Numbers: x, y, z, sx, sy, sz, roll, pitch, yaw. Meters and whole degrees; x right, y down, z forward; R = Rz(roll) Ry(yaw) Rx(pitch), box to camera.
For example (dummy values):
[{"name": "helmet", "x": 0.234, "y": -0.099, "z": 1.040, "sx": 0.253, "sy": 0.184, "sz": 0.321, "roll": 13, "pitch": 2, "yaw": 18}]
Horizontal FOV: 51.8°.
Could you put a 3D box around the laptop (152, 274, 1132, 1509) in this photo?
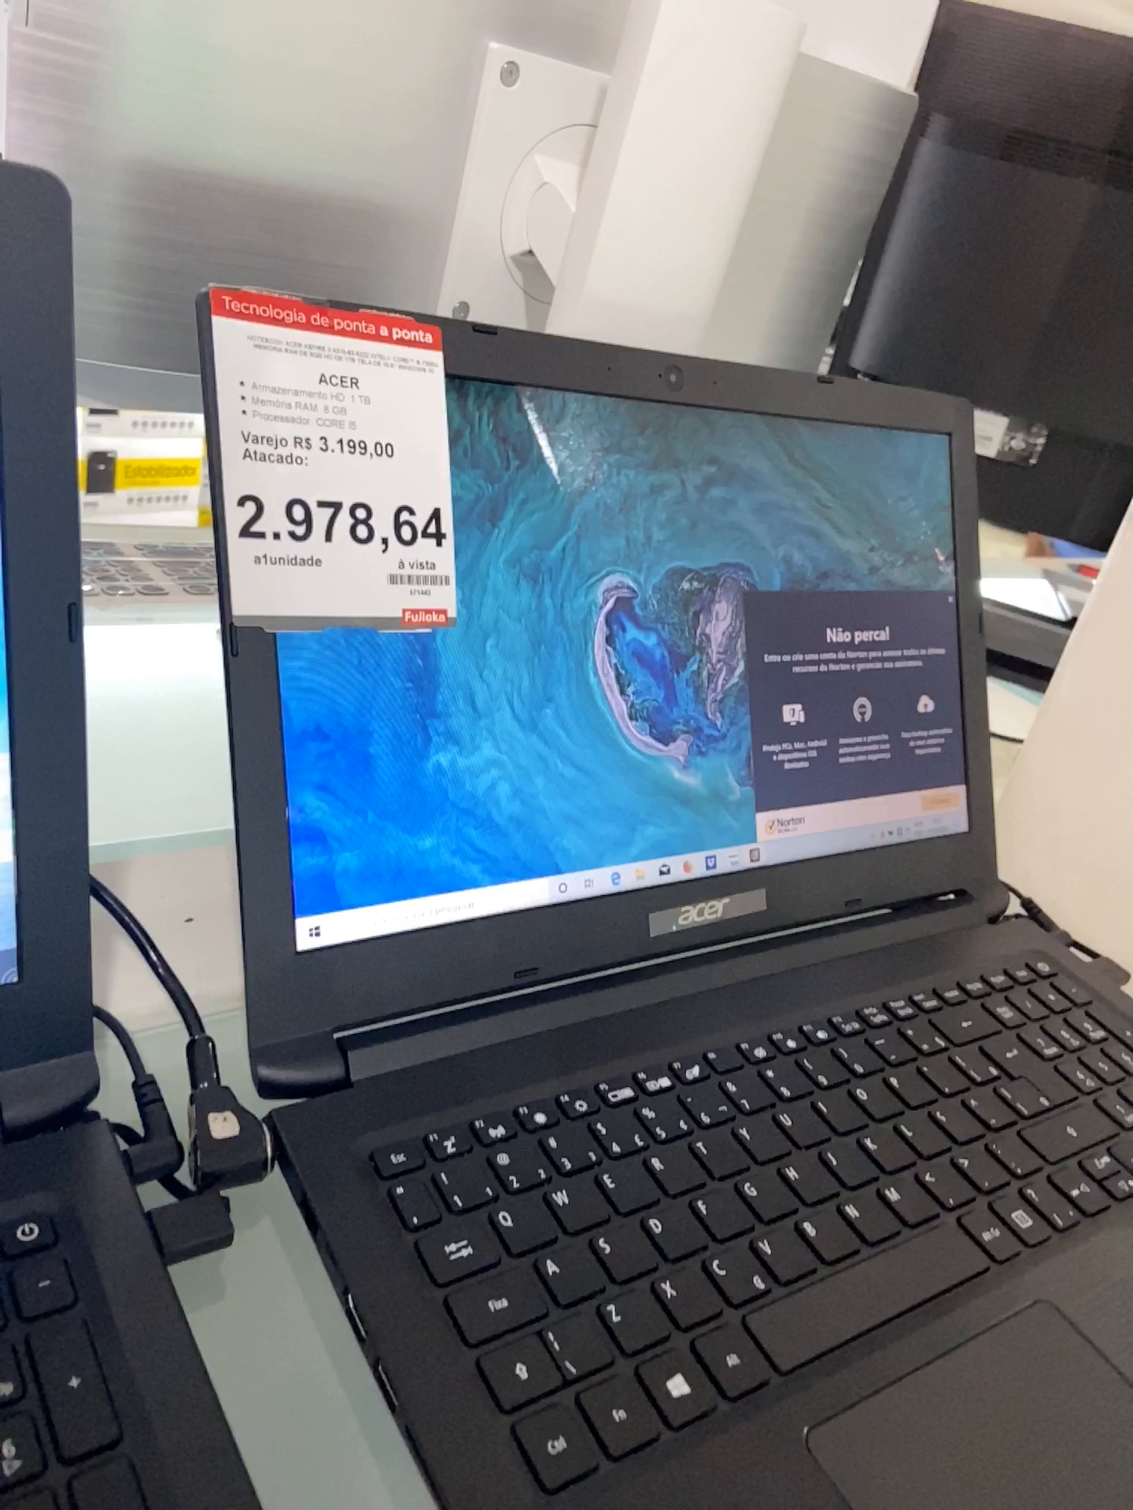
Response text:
[{"name": "laptop", "x": 0.113, "y": 0.023, "z": 0.375, "sx": 0.370, "sy": 0.205, "sz": 0.376, "roll": -4, "pitch": 32, "yaw": -34}]
